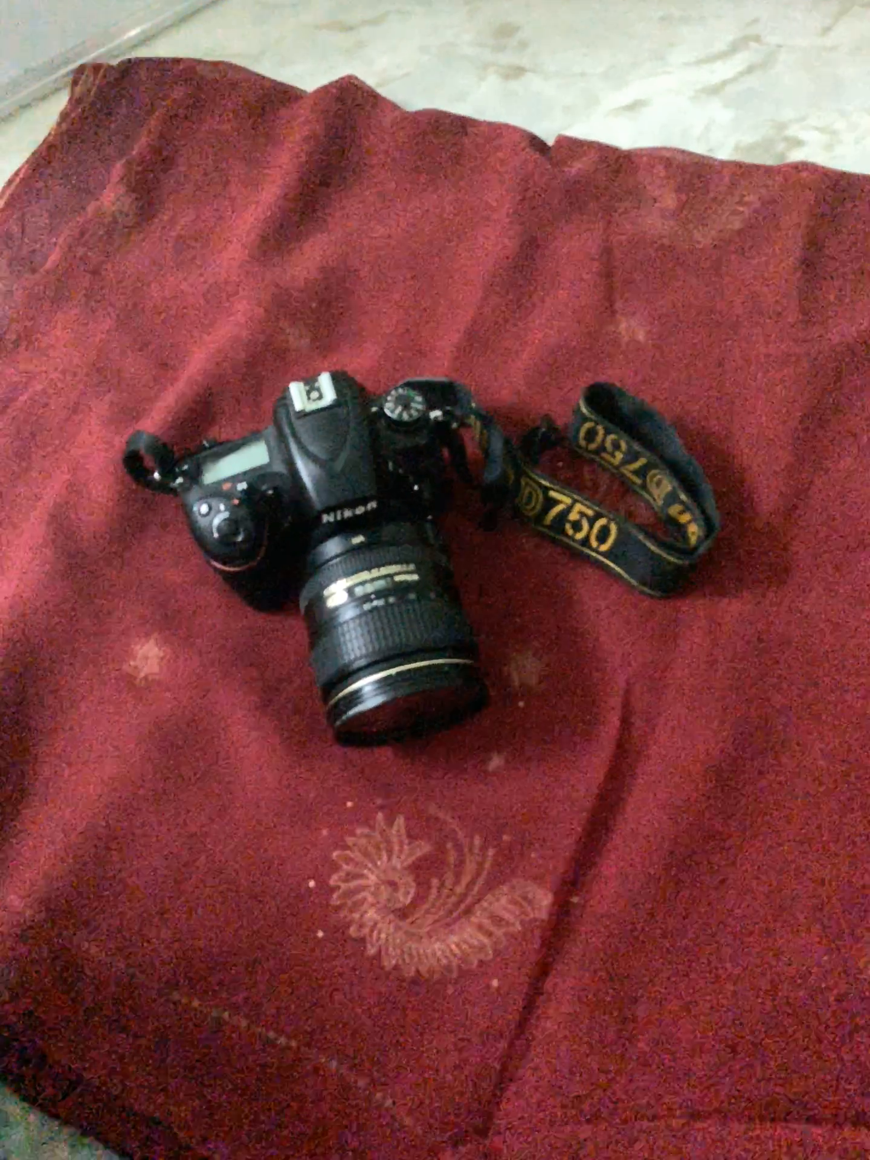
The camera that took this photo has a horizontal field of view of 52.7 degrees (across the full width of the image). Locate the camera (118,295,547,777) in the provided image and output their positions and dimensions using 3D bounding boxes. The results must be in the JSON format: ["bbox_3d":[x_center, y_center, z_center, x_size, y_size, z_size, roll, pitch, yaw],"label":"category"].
[{"bbox_3d":[-0.045,-0.016,0.417,0.150,0.110,0.160,-17,64,2],"label":"camera"}]
